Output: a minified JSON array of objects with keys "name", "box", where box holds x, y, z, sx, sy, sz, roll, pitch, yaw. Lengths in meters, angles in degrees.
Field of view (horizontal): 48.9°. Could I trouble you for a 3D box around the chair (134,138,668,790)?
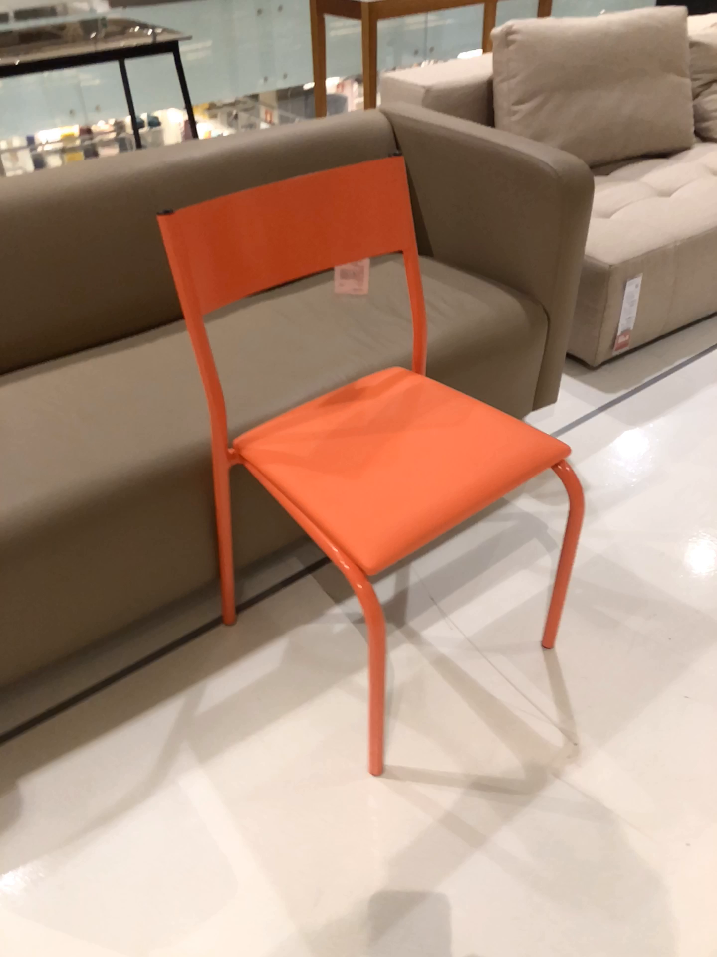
[{"name":"chair","box":[0.050,-0.038,1.271,0.502,0.784,0.492,-26,44,-28]}]
